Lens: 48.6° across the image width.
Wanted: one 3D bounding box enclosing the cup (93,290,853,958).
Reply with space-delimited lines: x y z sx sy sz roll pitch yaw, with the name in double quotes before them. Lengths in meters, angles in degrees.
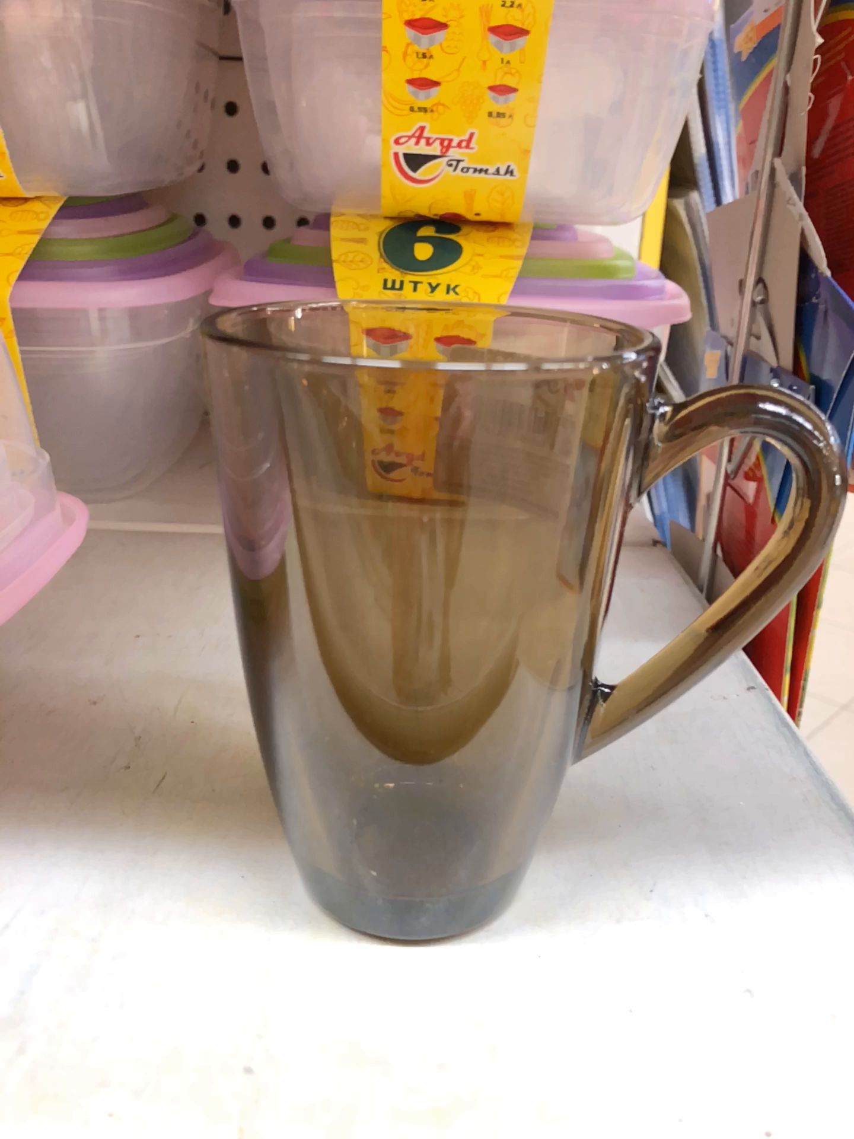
"cup" 0.006 0.002 0.179 0.112 0.096 0.072 -3 23 -10
